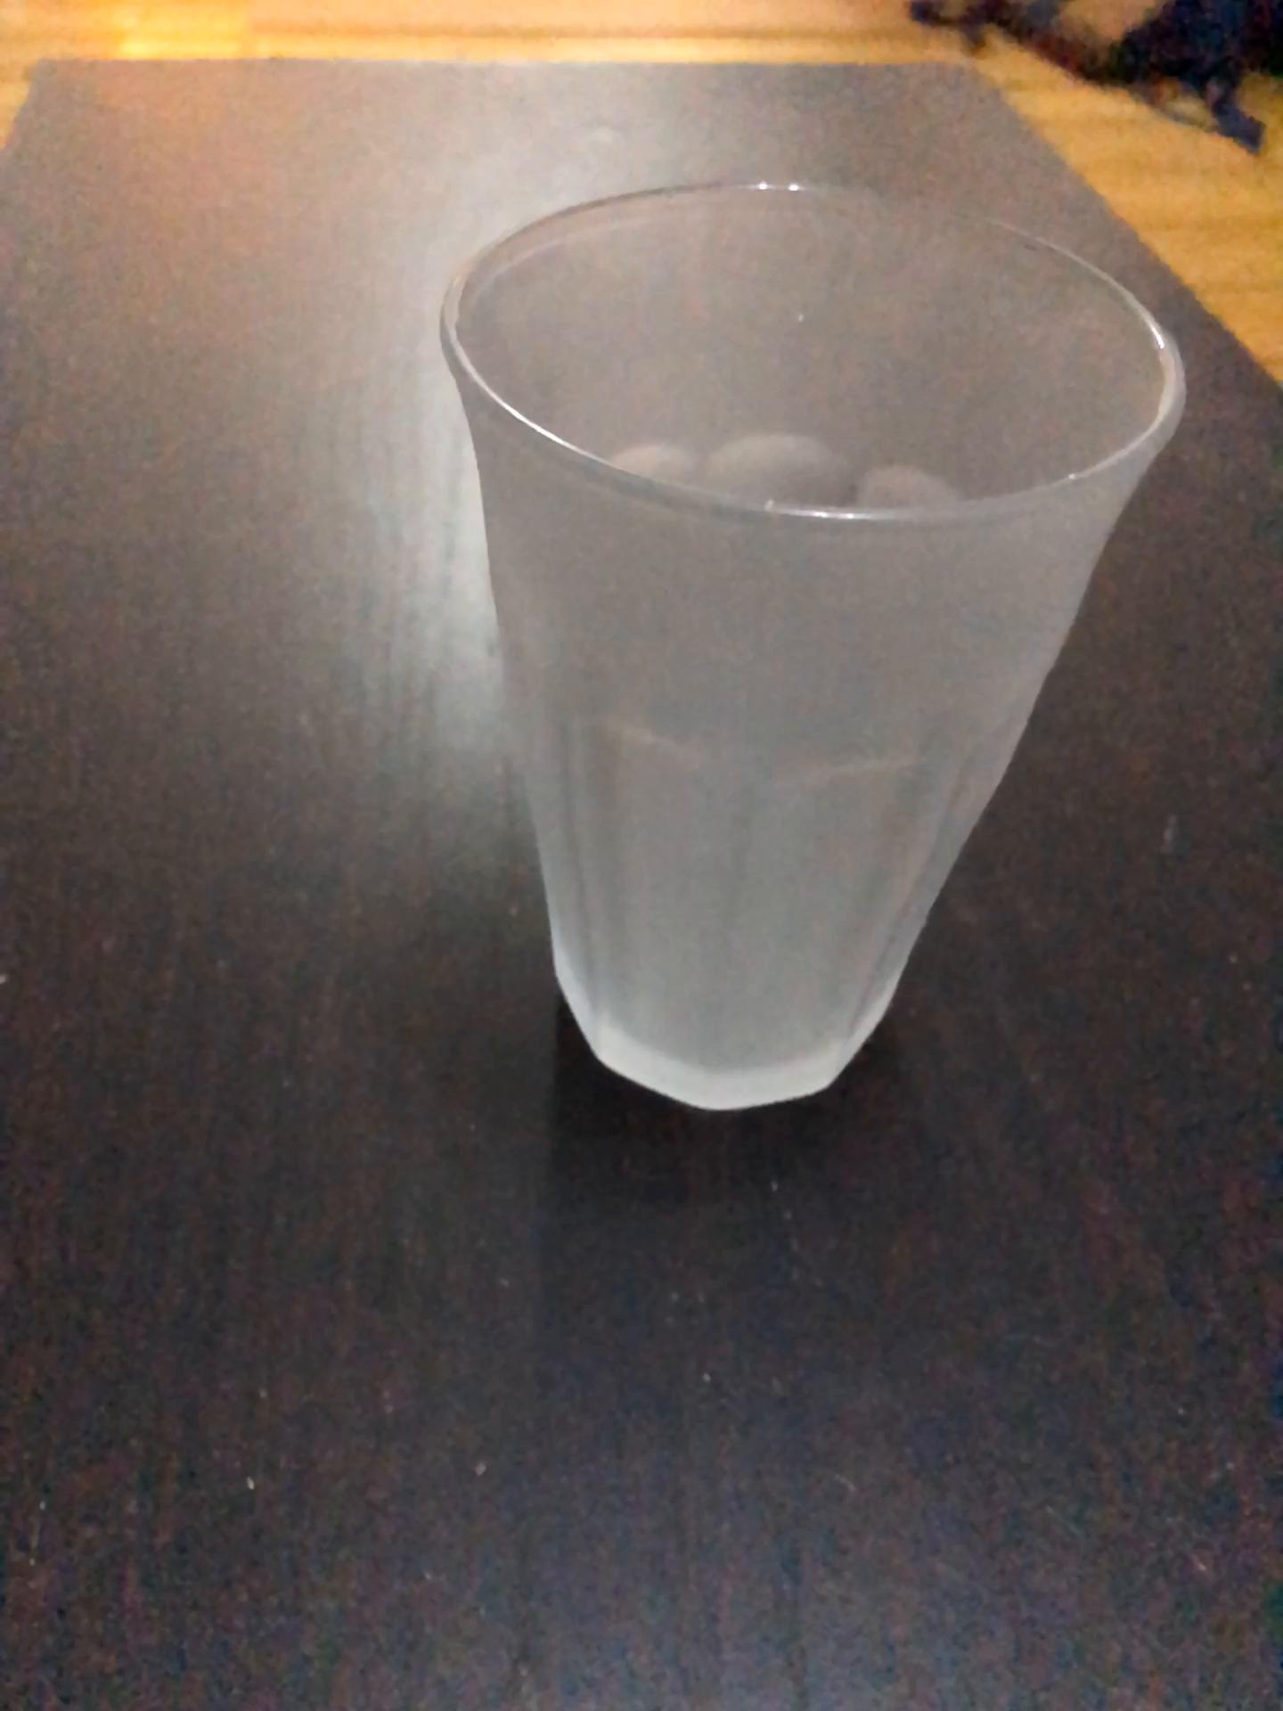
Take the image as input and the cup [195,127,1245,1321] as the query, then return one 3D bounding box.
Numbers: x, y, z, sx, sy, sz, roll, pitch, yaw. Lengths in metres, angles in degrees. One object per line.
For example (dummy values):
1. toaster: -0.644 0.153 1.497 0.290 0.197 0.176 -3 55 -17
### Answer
1. cup: 0.010 -0.022 0.225 0.090 0.129 0.100 30 50 24
